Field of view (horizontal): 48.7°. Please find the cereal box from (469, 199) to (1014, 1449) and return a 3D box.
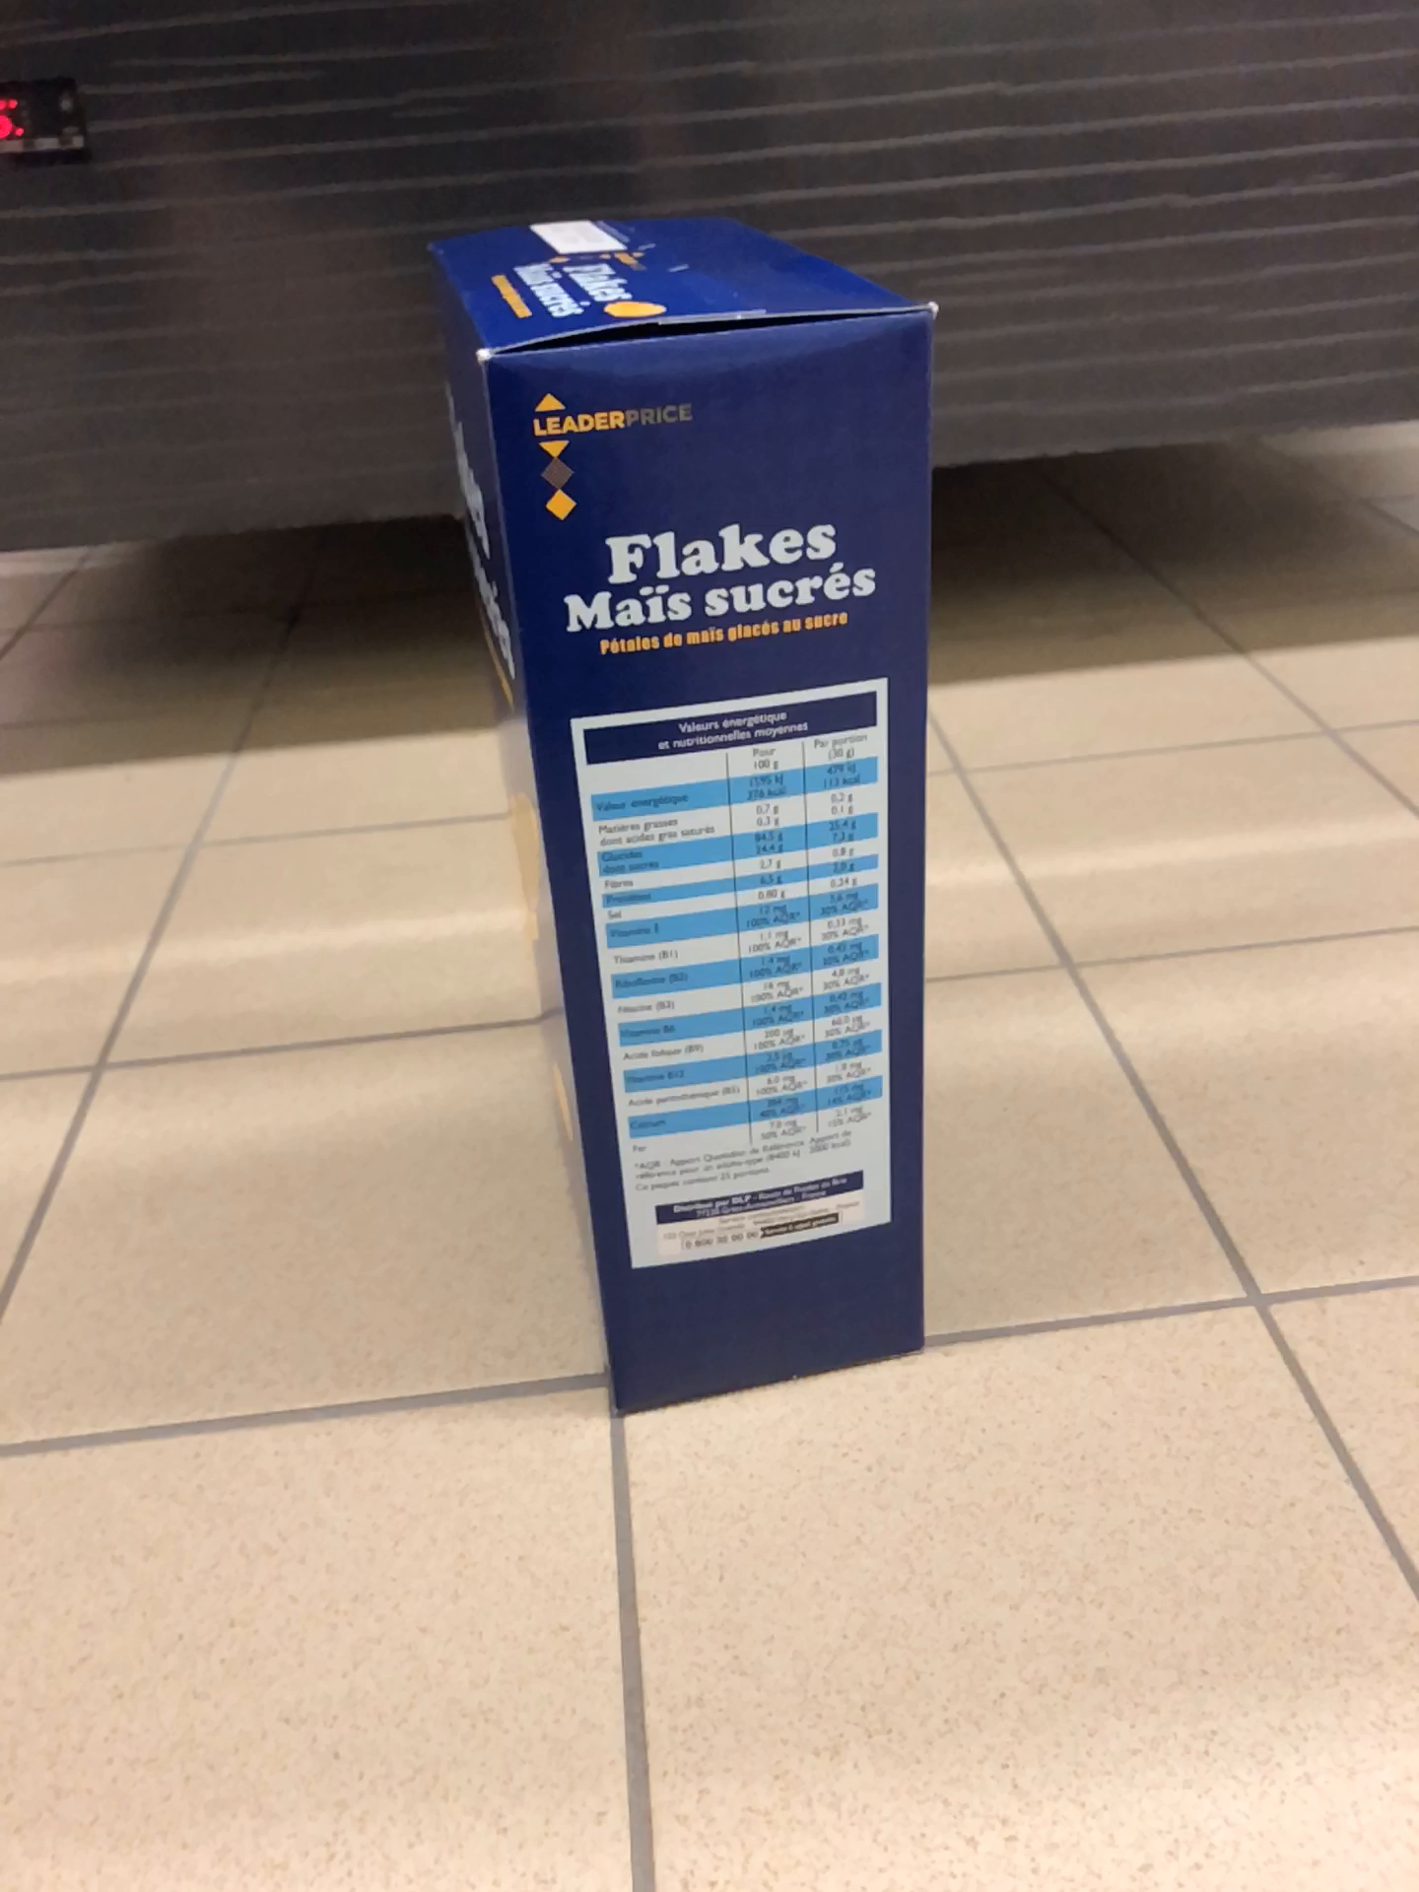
[{"bbox_3d":[0.004,-0.046,0.477,0.100,0.308,0.211,-8,29,-7],"label":"cereal box"}]
